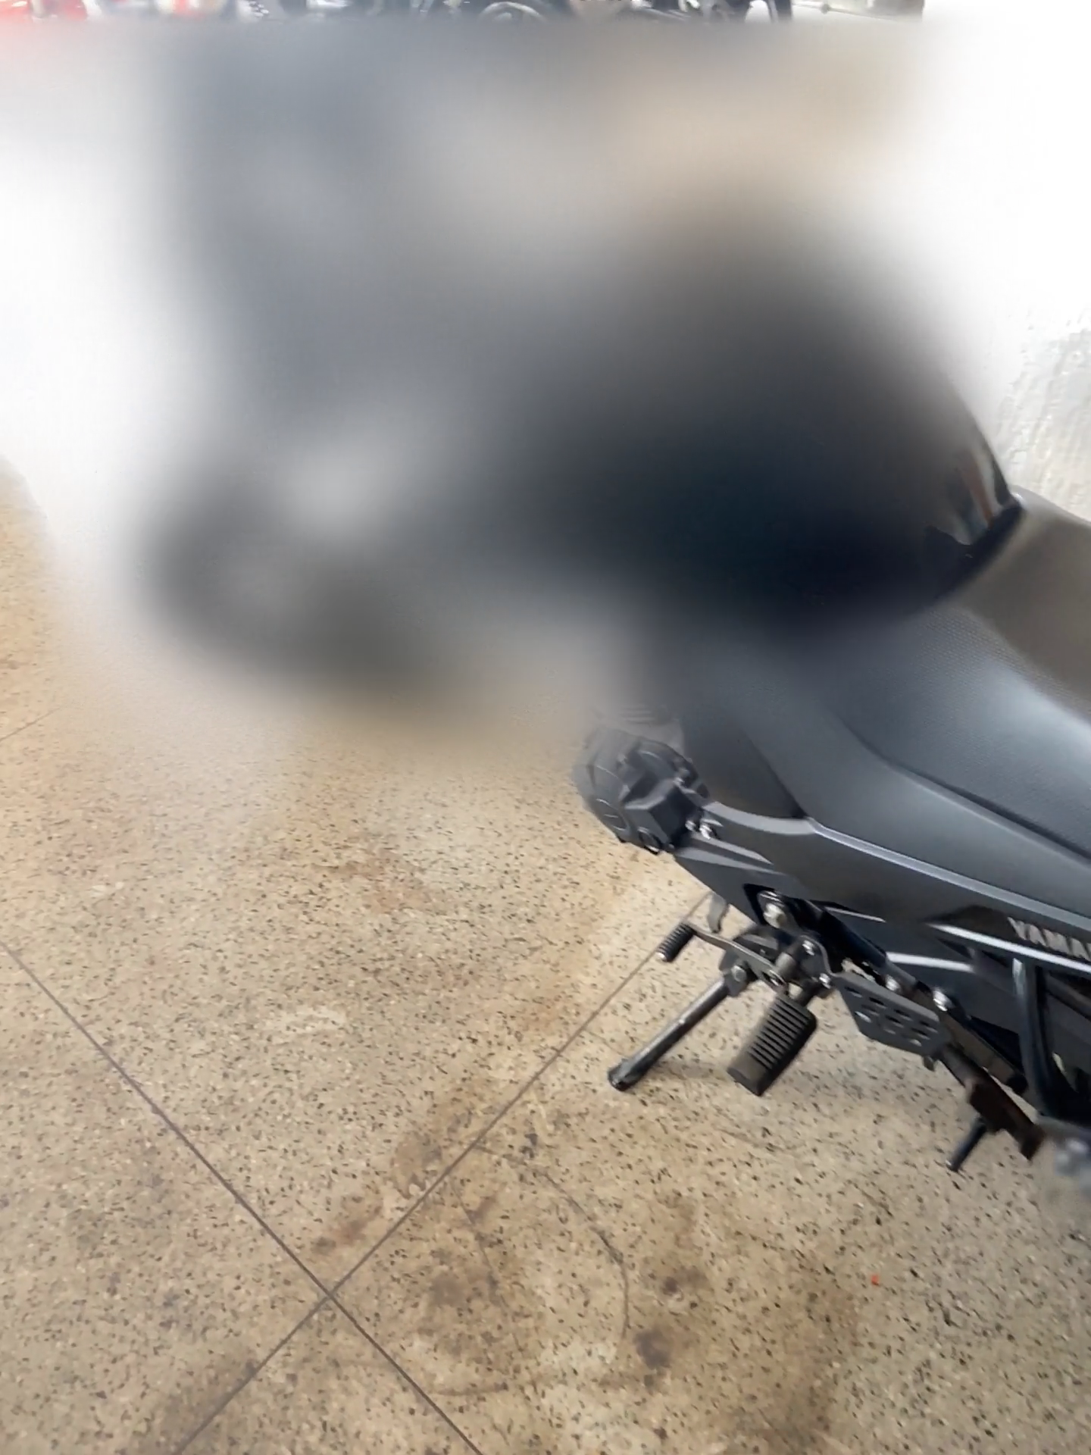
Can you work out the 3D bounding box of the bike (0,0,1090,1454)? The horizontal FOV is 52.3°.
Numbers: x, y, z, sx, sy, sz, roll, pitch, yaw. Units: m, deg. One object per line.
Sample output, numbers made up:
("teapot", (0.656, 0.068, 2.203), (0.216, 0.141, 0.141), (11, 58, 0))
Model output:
("bike", (0.174, 0.082, 0.932), (2.005, 1.331, 0.819), (25, 49, 27))
